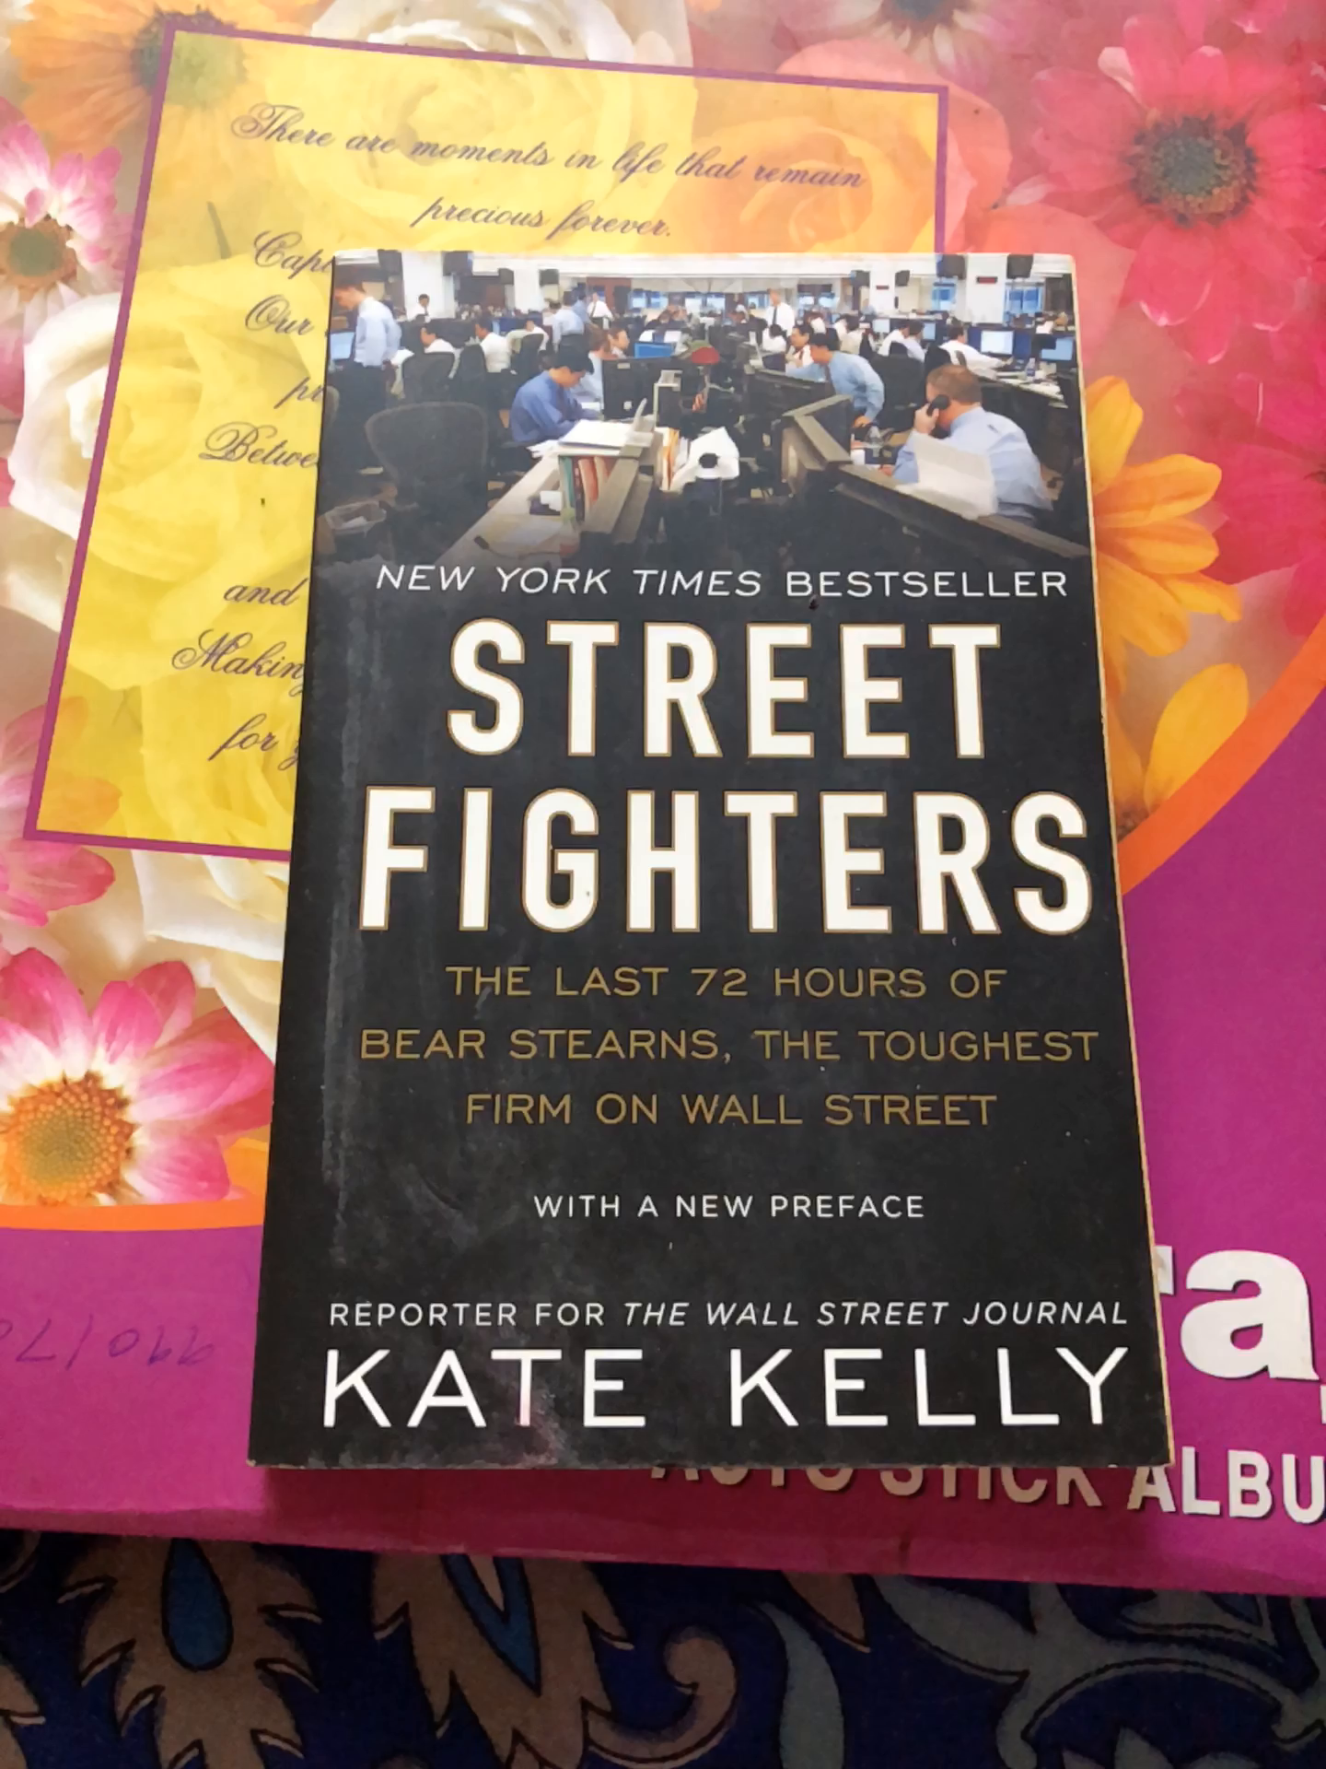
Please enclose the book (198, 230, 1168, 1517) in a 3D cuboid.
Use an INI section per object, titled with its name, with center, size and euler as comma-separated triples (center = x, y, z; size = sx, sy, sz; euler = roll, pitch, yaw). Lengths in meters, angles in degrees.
[book]
center = 0.003, -0.009, 0.253
size = 0.140, 0.030, 0.210
euler = 0, 76, 3
